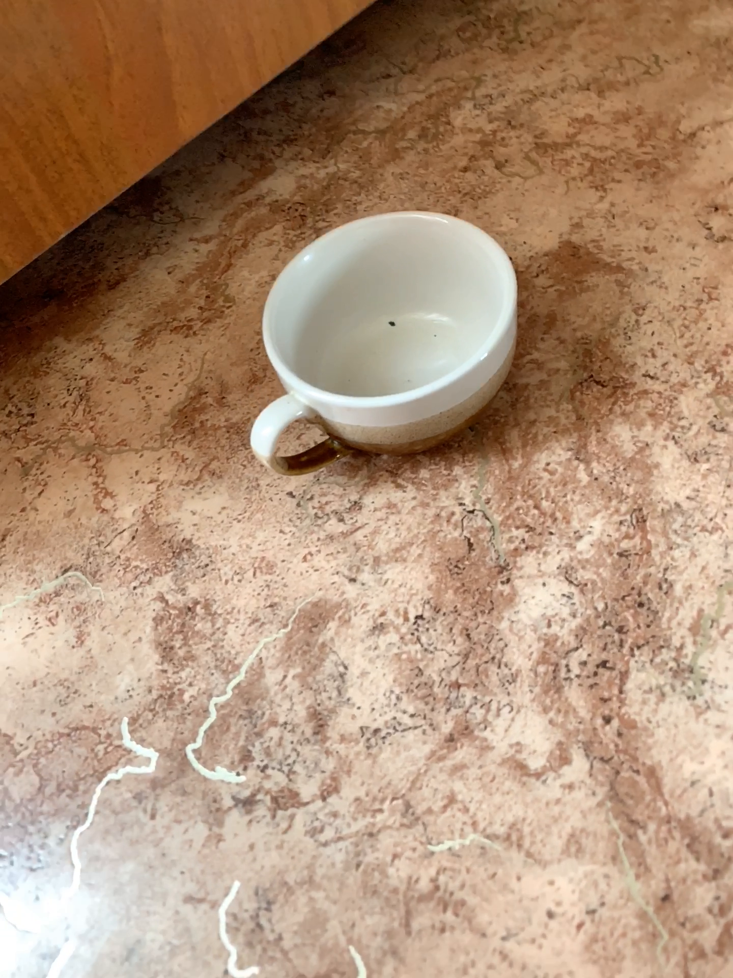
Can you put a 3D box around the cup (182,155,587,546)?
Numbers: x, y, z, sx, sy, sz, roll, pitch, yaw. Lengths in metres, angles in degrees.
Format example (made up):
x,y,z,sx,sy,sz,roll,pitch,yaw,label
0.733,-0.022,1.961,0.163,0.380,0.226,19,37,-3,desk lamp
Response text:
x,y,z,sx,sy,sz,roll,pitch,yaw,label
0.009,-0.056,0.294,0.115,0.060,0.090,-39,61,-12,cup
